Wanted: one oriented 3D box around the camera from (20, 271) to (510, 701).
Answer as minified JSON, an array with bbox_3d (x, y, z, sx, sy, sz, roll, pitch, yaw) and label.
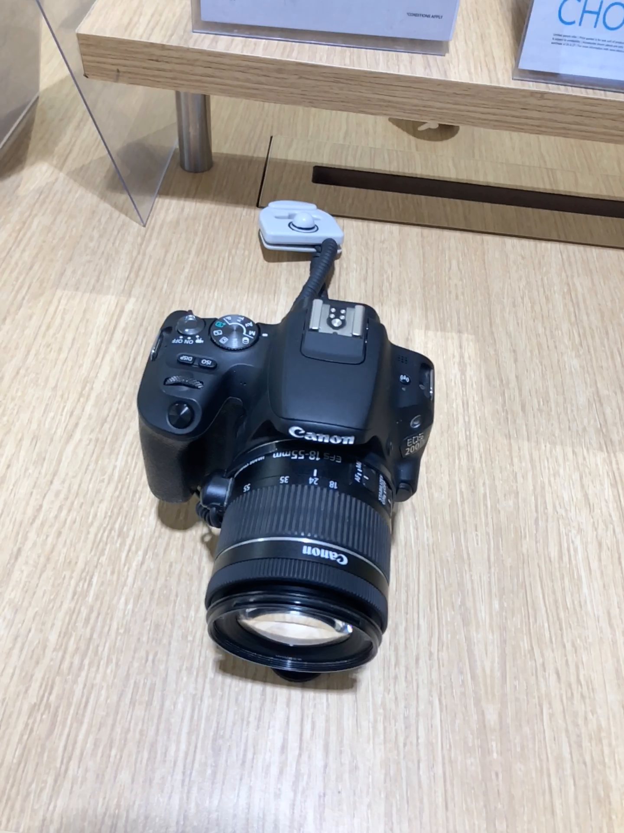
[{"bbox_3d":[-0.010,0.024,0.249,0.130,0.080,0.115,7,51,0],"label":"camera"}]
